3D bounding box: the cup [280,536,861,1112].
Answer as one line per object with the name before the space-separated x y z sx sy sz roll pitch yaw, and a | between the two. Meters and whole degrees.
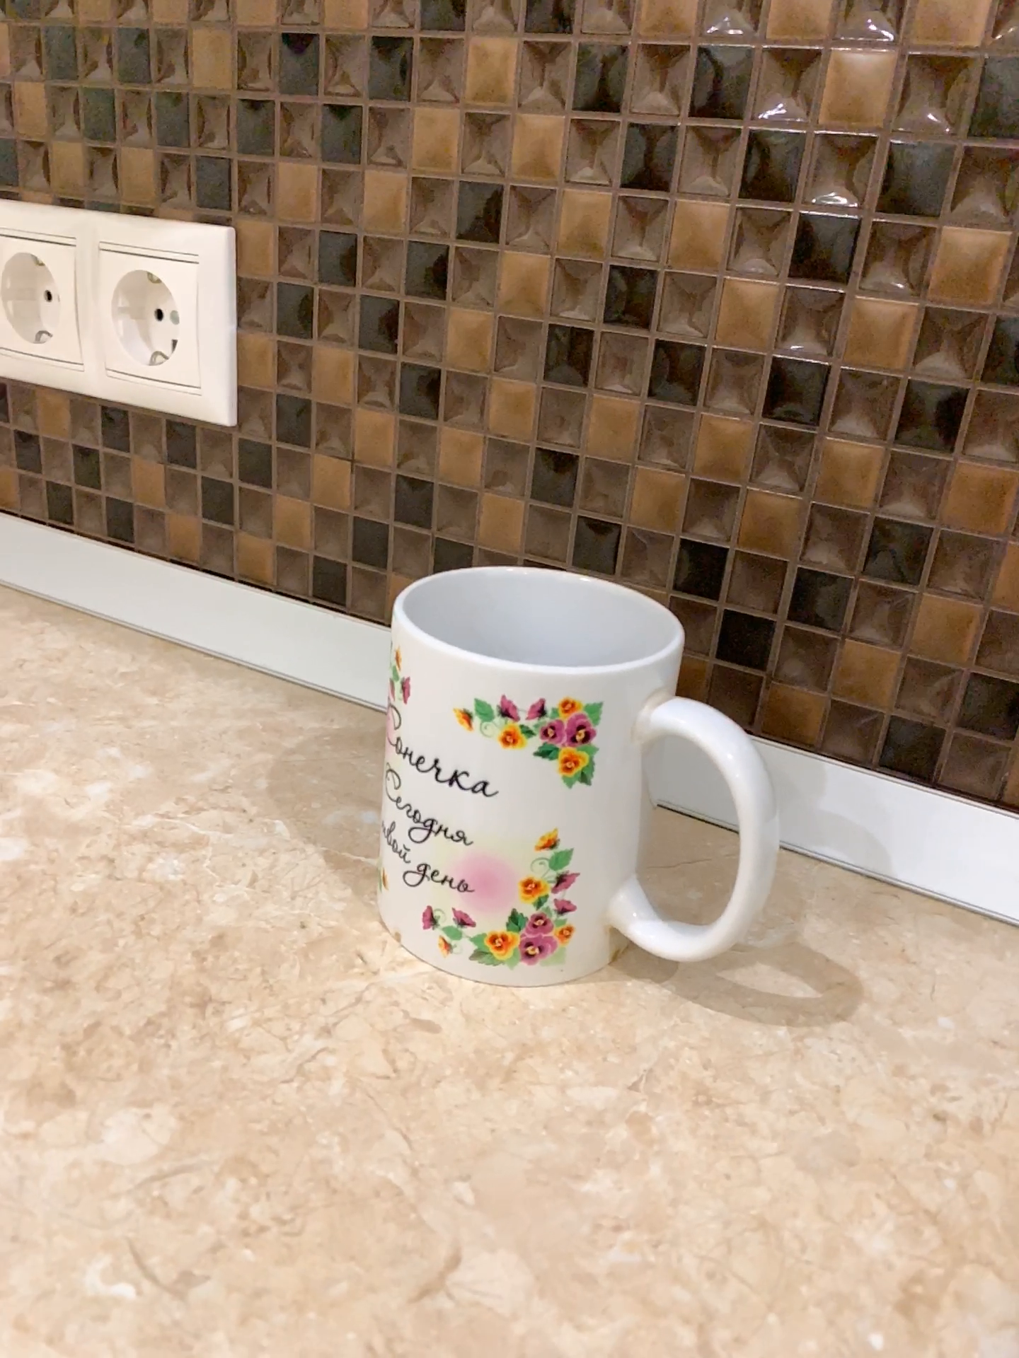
cup | 0.014 0.028 0.293 0.123 0.093 0.091 19 27 28
